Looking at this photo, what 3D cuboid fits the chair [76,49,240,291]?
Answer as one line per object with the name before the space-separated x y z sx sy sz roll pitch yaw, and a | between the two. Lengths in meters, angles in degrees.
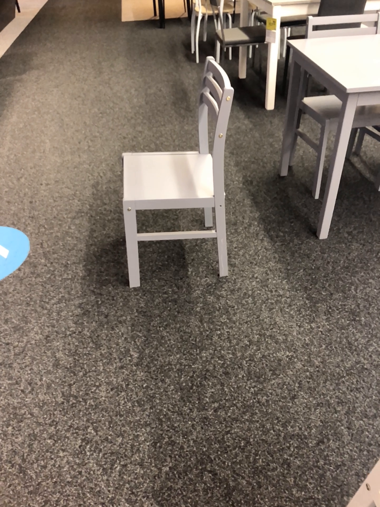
chair | -0.112 -0.328 1.671 0.490 0.766 0.493 -7 39 -5
